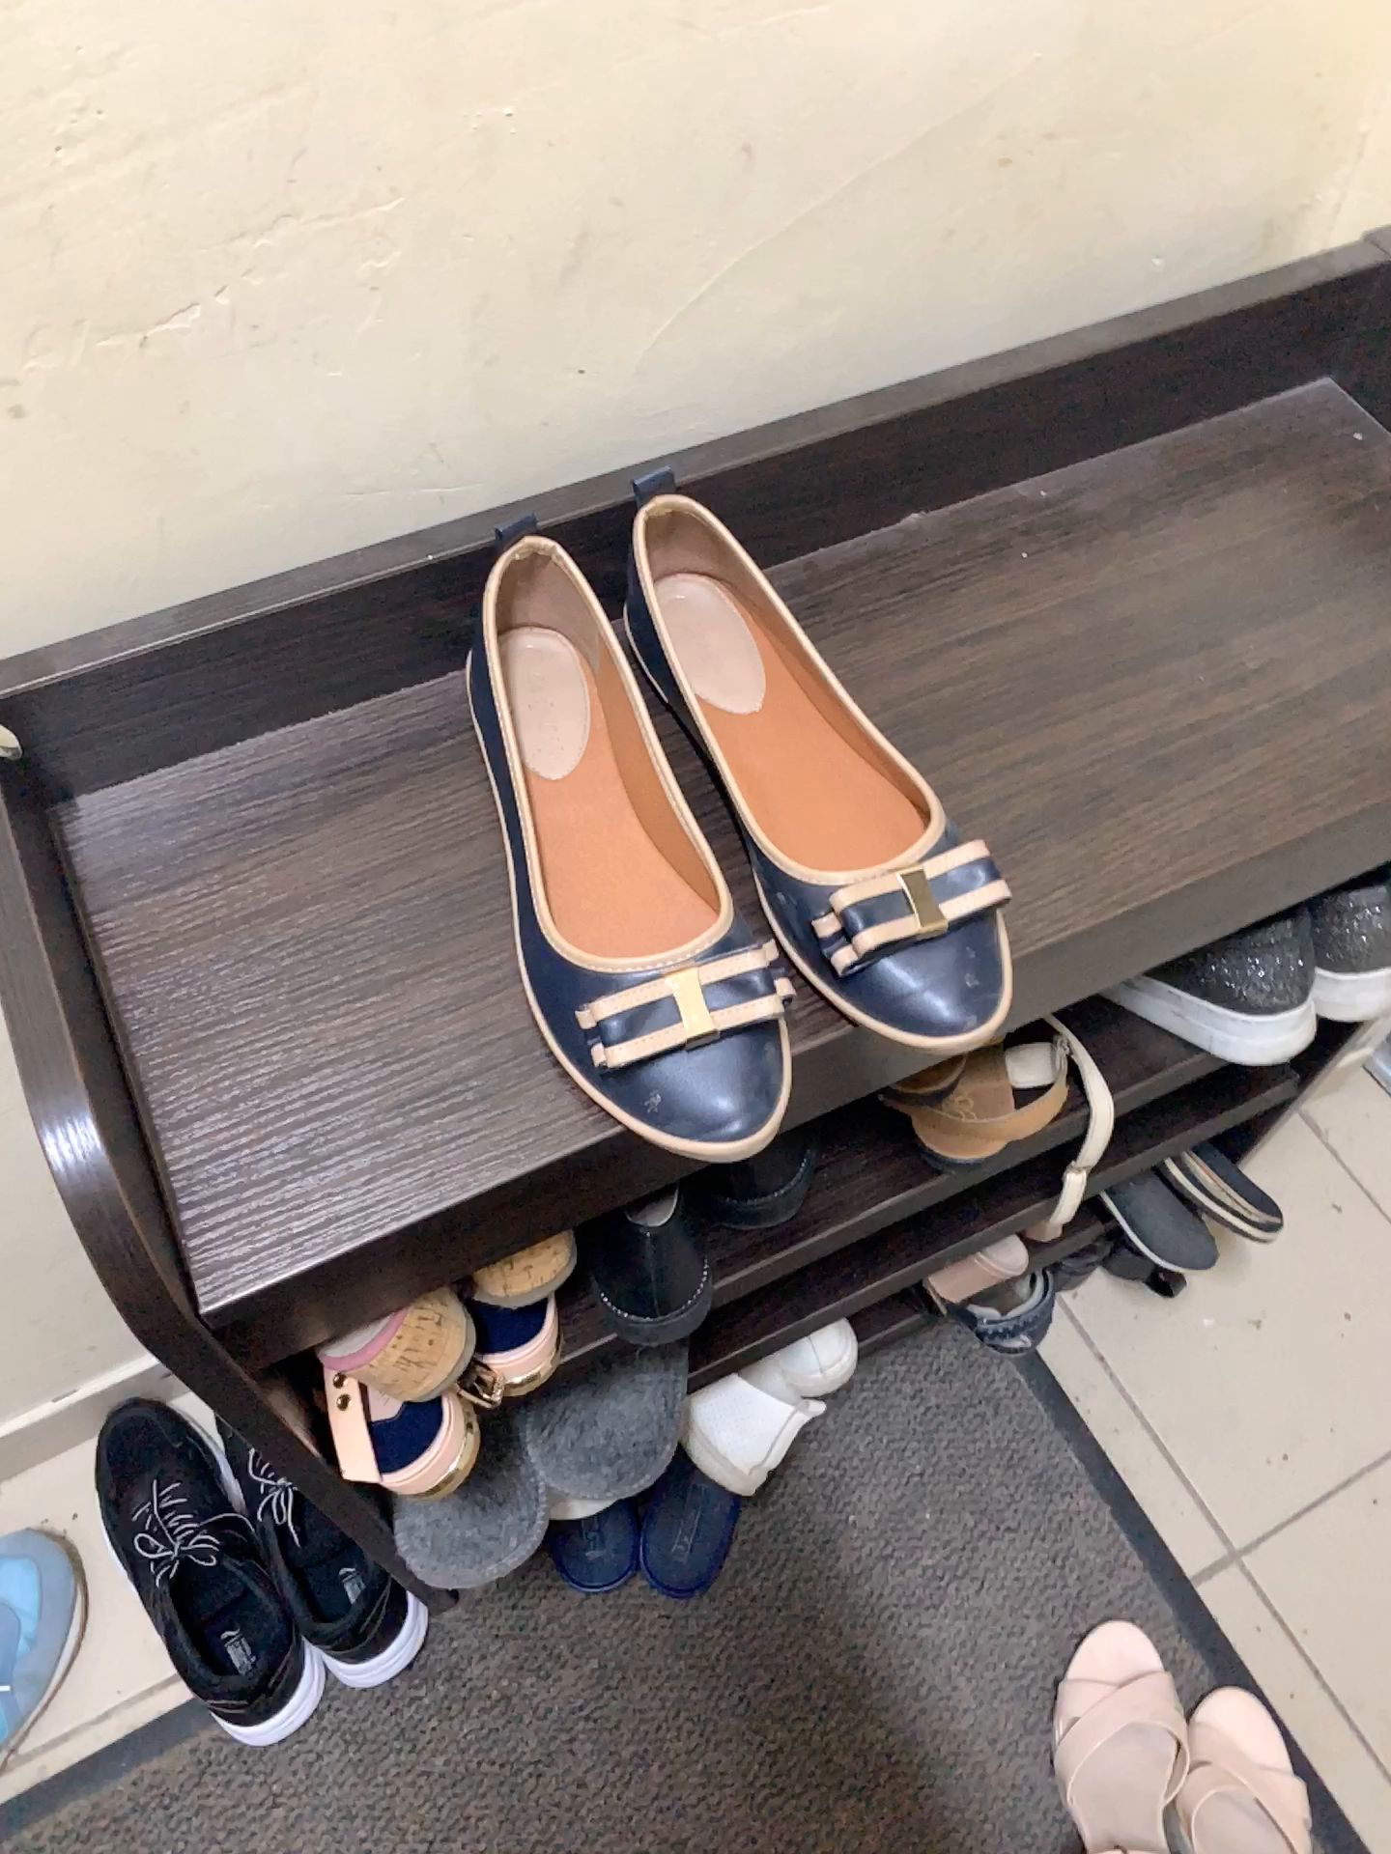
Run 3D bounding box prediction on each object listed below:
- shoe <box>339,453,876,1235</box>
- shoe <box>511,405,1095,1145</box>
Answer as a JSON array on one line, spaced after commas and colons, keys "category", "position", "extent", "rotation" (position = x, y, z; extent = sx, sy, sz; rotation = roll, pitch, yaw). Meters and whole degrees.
[{"category": "shoe", "position": [-0.039, -0.042, 0.548], "extent": [0.100, 0.100, 0.281], "rotation": [-22, 59, -8]}, {"category": "shoe", "position": [0.031, -0.070, 0.571], "extent": [0.100, 0.100, 0.281], "rotation": [-24, 60, -9]}]
